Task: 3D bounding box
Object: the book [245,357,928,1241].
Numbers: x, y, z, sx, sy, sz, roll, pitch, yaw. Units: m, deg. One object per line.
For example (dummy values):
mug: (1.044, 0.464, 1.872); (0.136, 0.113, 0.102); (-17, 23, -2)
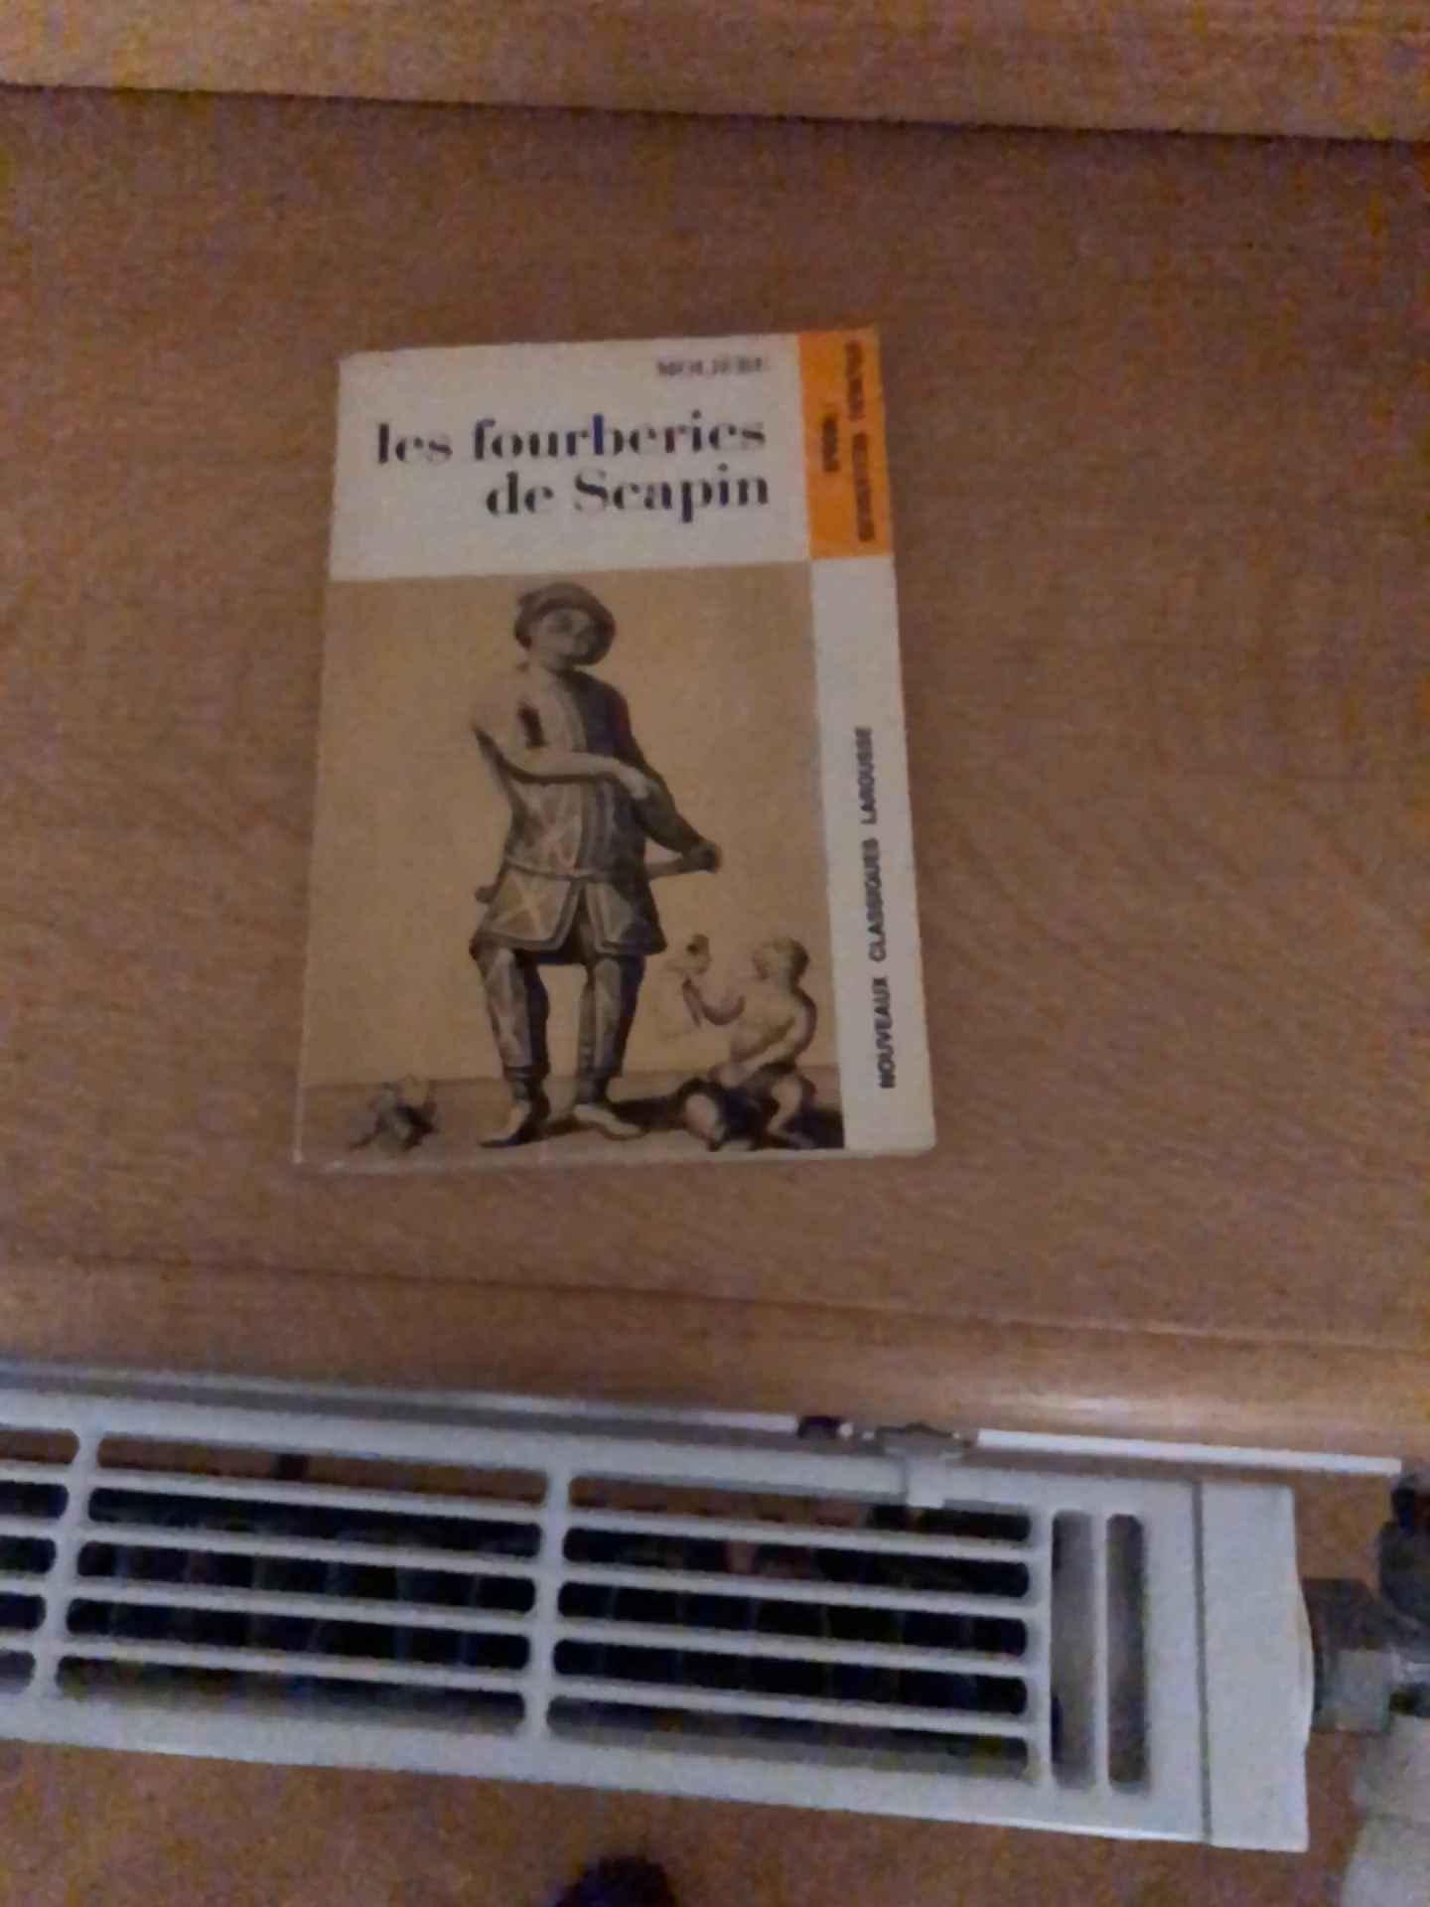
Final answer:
book: (-0.024, -0.035, 0.306); (0.117, 0.015, 0.175); (-2, 71, 1)
